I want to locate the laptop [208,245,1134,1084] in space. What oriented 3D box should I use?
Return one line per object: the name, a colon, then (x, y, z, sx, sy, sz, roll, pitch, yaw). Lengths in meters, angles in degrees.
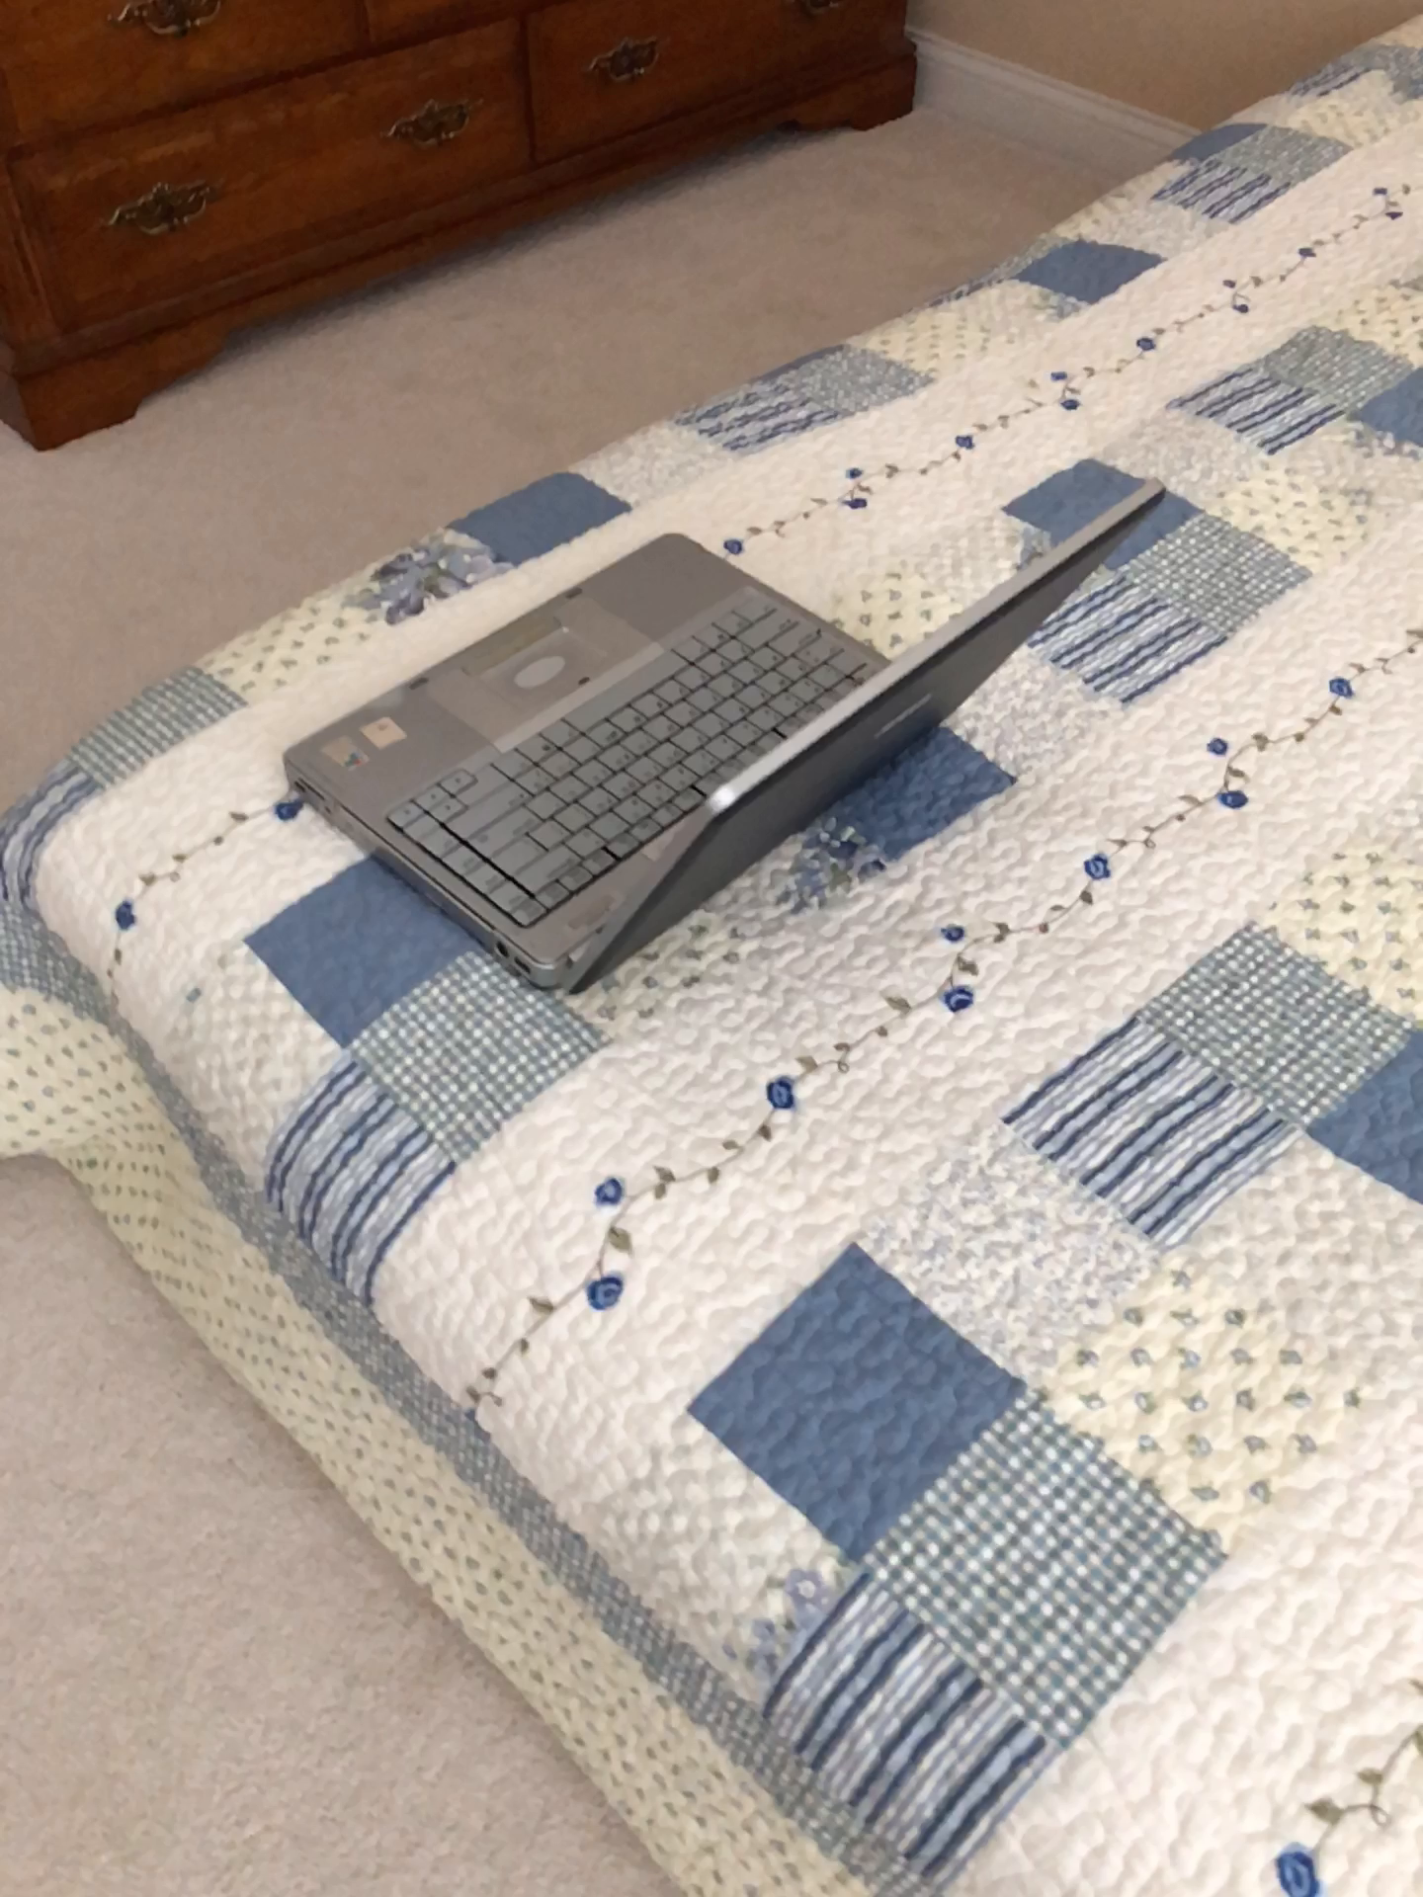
laptop: (-0.018, -0.174, 0.846, 0.327, 0.193, 0.323, 37, 57, 25)
